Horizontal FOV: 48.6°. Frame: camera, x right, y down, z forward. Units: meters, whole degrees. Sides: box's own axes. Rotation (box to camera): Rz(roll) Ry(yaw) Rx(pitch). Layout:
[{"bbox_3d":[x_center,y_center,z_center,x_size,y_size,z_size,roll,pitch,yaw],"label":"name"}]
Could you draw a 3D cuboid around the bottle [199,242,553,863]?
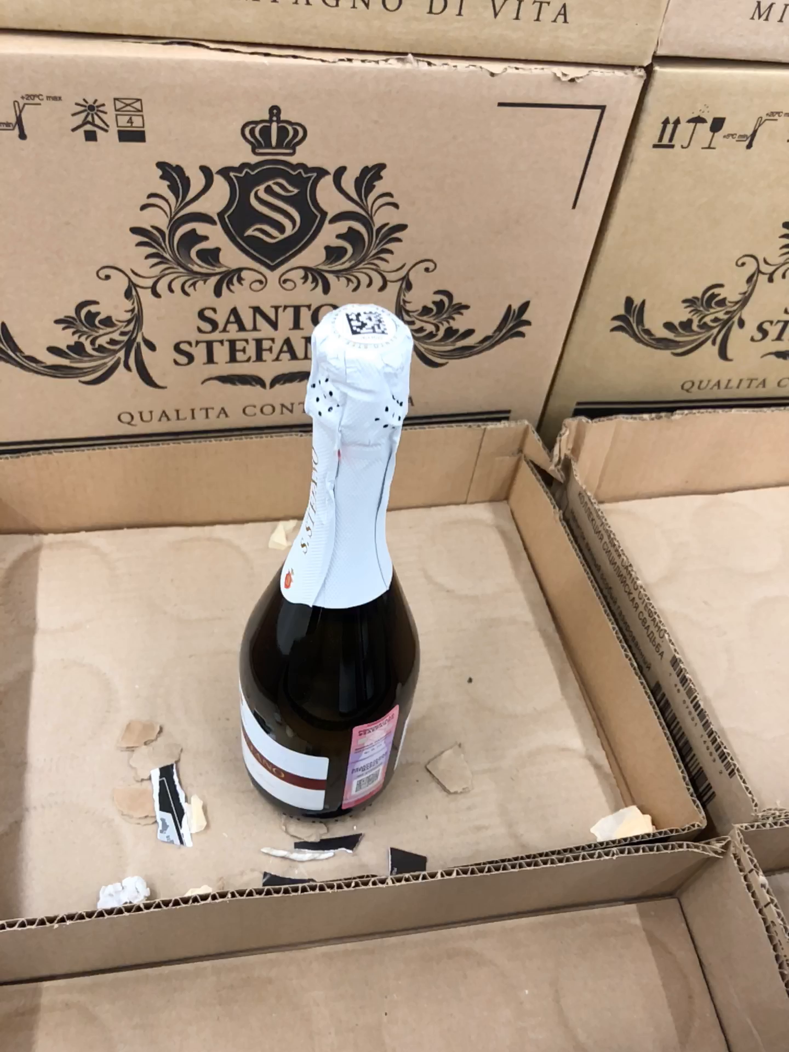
[{"bbox_3d":[-0.025,0.039,0.393,0.090,0.308,0.090,4,49,-4],"label":"bottle"}]
